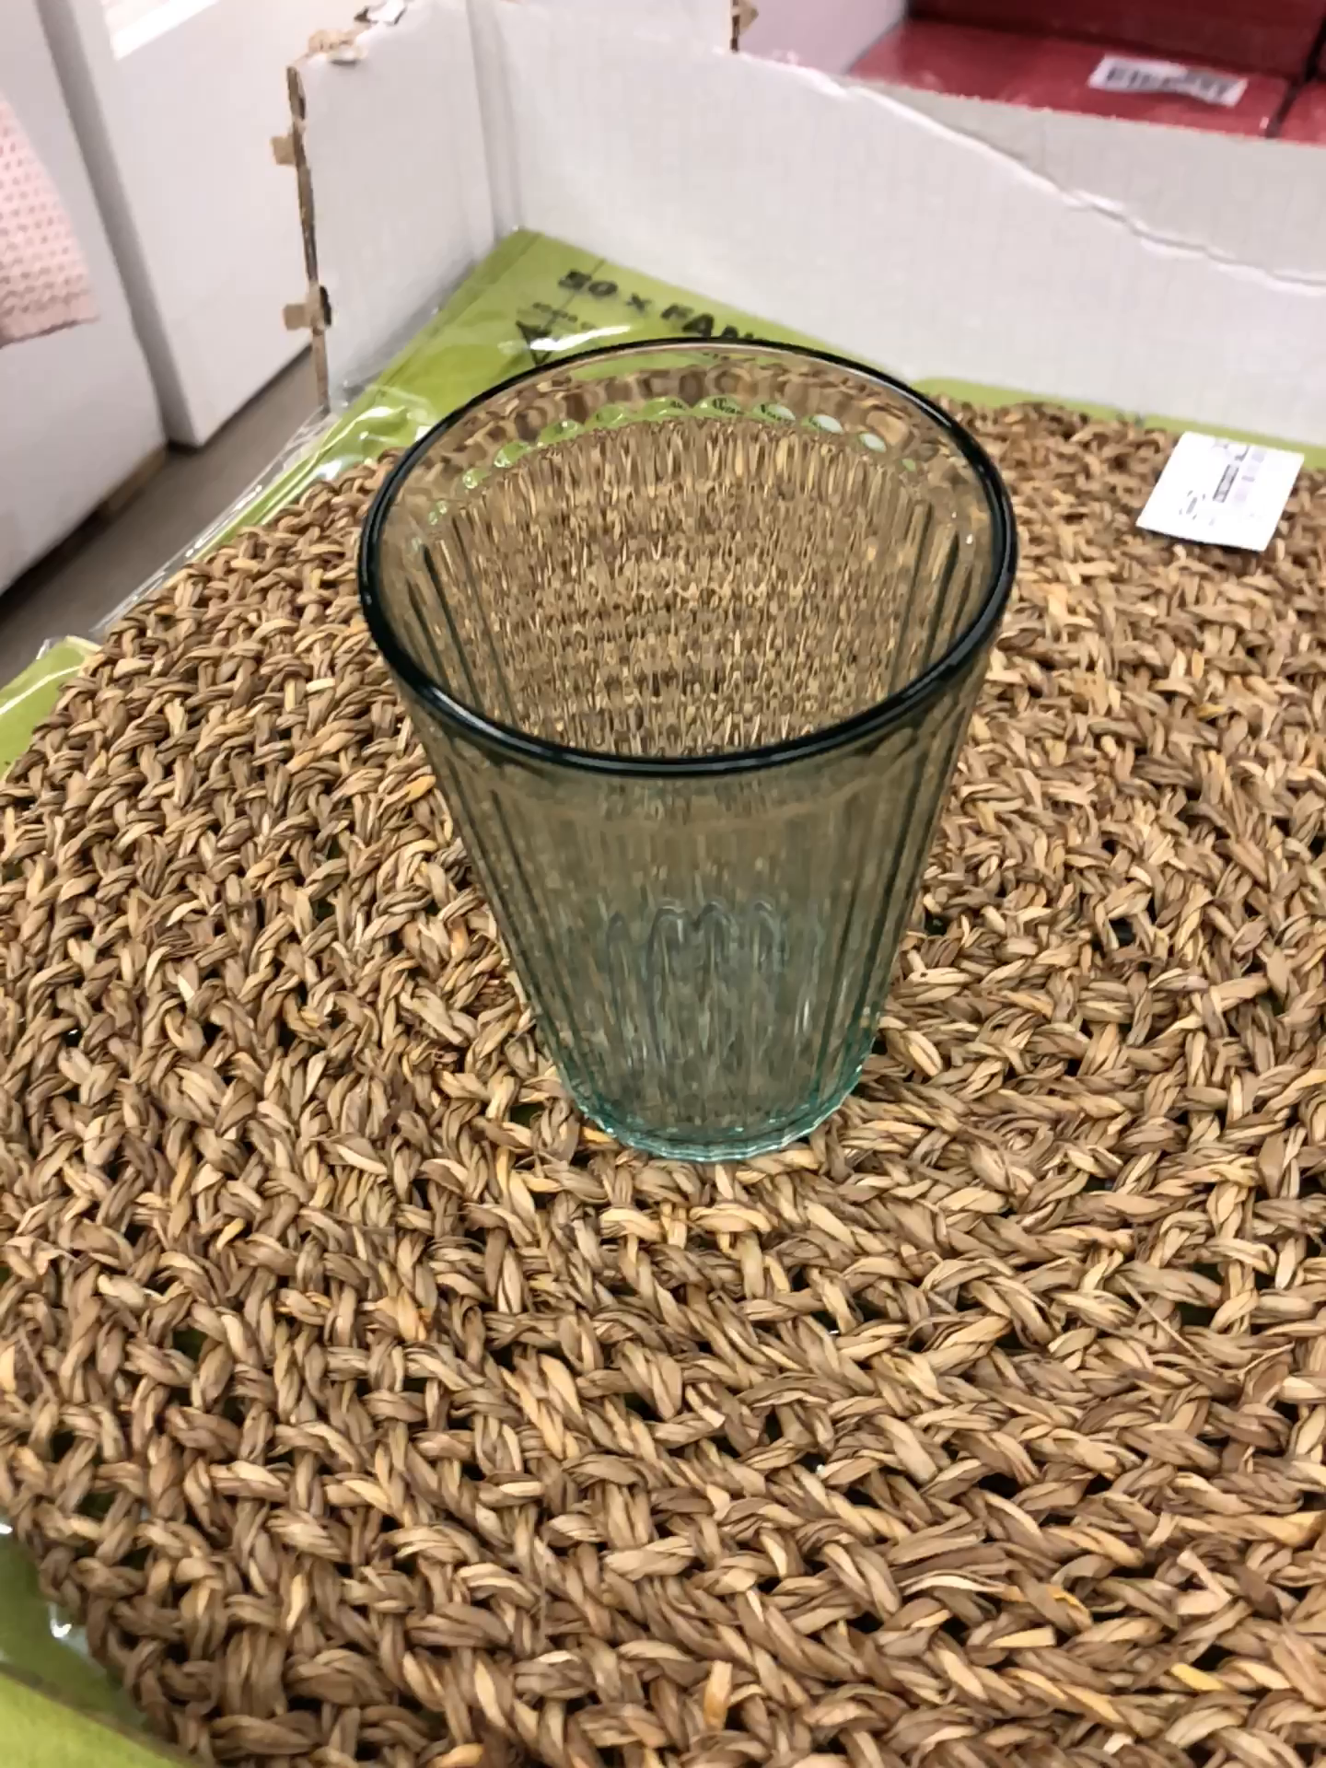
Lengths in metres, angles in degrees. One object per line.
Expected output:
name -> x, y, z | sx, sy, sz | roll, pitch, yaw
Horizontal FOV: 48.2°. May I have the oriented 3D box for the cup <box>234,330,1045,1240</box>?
cup -> 0.000, -0.011, 0.210 | 0.080, 0.100, 0.080 | -1, 49, 1
